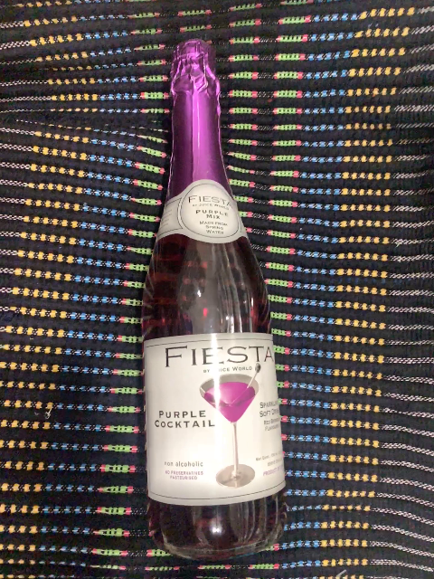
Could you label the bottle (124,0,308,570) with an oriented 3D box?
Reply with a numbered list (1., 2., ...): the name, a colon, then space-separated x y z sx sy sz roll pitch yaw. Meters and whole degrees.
1. bottle: -0.013 -0.027 0.283 0.080 0.080 0.330 -2 76 -9
